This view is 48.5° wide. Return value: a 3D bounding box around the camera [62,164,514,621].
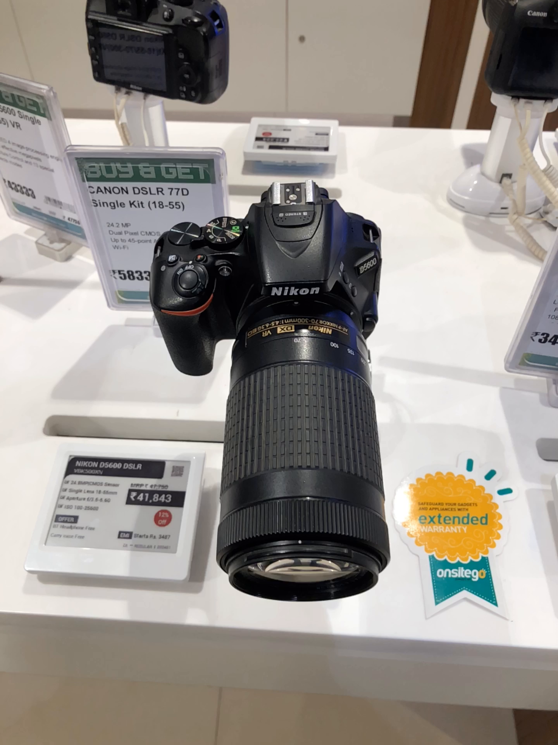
[{"bbox_3d":[0.005,-0.003,0.291,0.140,0.090,0.201,1,49,1],"label":"camera"}]
